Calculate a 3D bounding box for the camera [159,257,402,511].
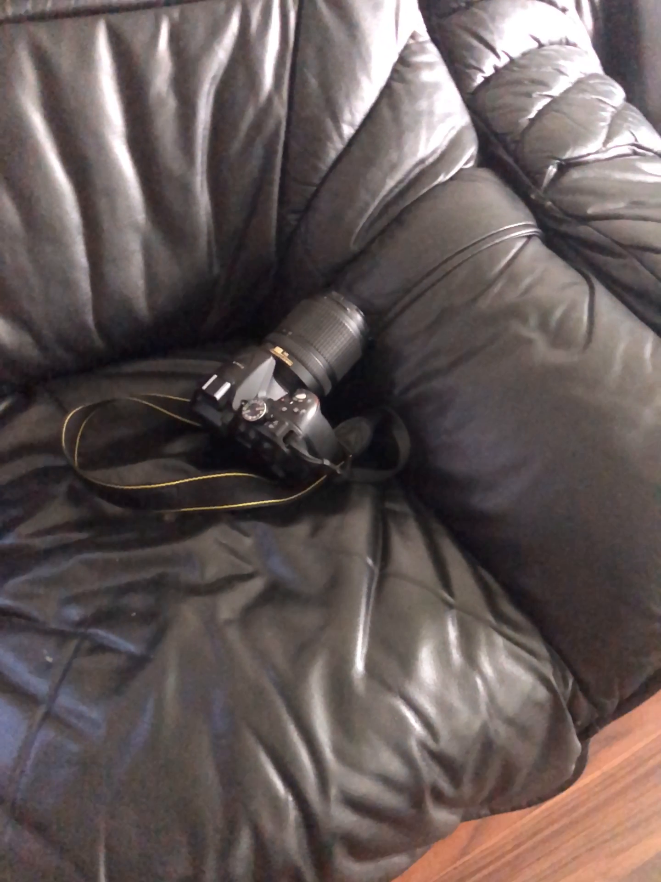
[{"bbox_3d":[-0.042,-0.057,0.726,0.140,0.130,0.170,31,70,27],"label":"camera"}]
